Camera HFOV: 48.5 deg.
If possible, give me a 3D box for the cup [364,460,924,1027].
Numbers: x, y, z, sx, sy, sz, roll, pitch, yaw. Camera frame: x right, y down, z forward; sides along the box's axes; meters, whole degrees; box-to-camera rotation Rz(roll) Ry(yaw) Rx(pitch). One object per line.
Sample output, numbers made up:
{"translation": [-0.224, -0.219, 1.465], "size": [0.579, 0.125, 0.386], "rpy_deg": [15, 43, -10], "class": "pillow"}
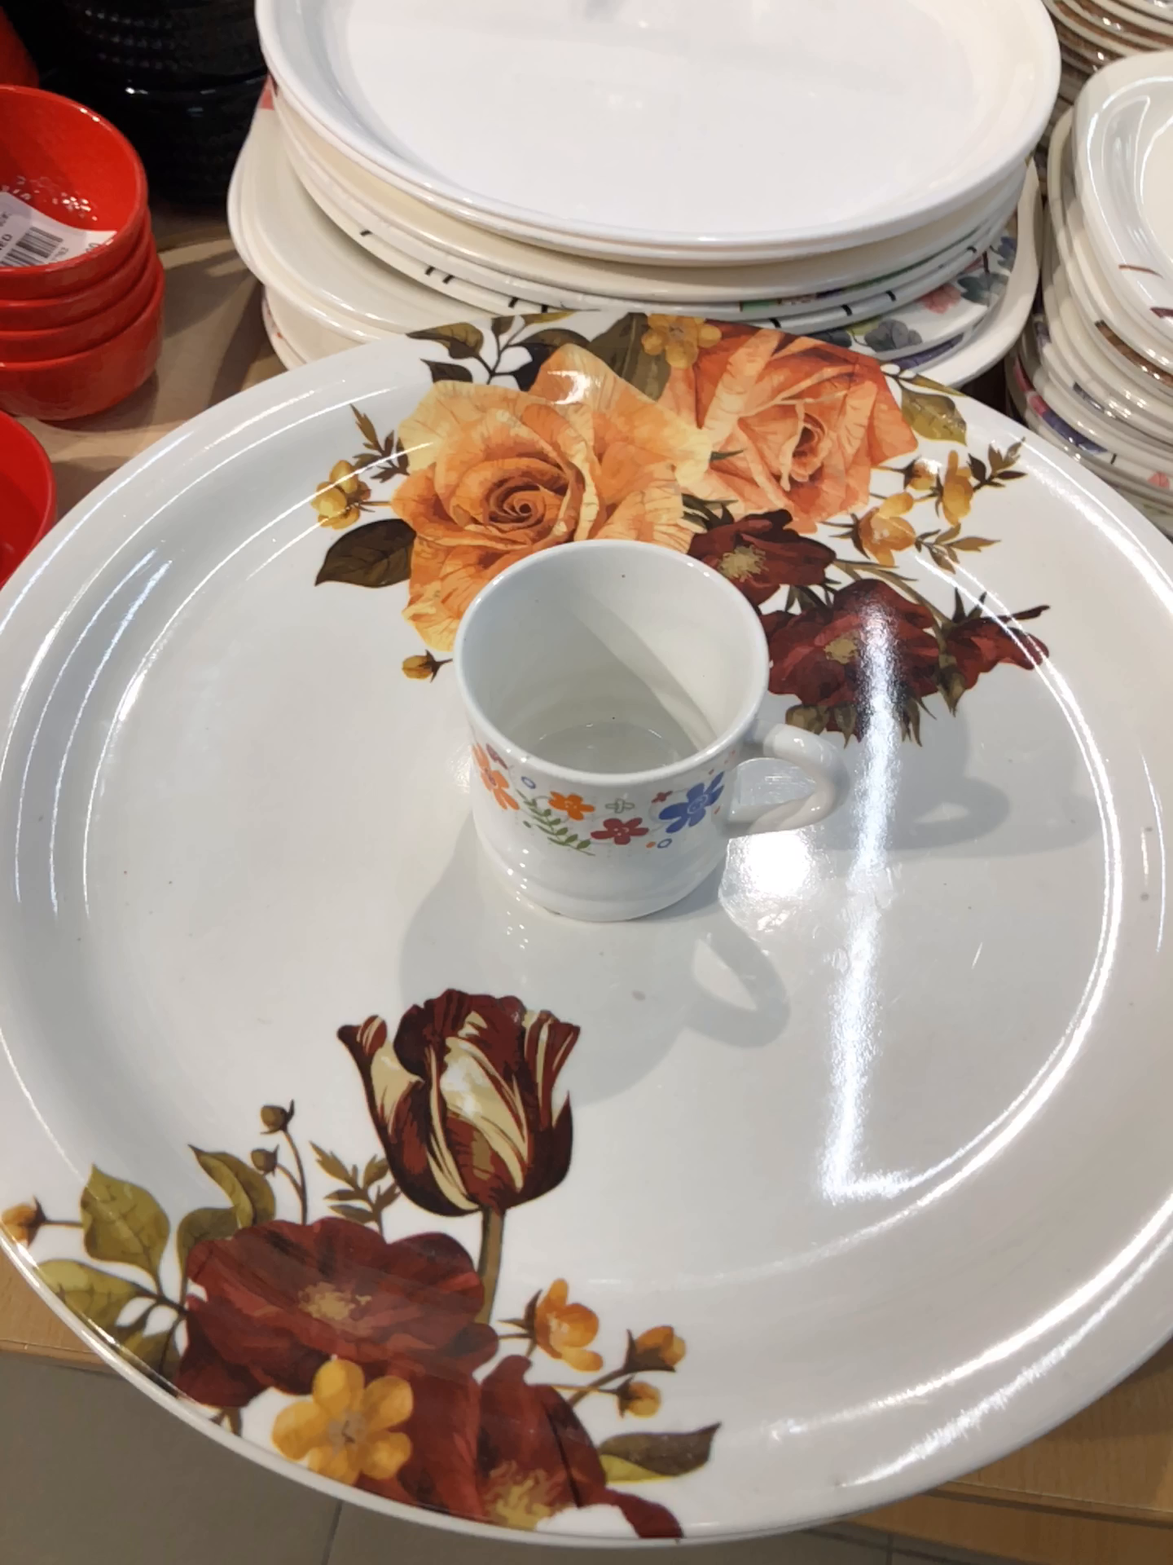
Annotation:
{"translation": [0.012, -0.008, 0.286], "size": [0.090, 0.070, 0.070], "rpy_deg": [23, 59, 12], "class": "cup"}
